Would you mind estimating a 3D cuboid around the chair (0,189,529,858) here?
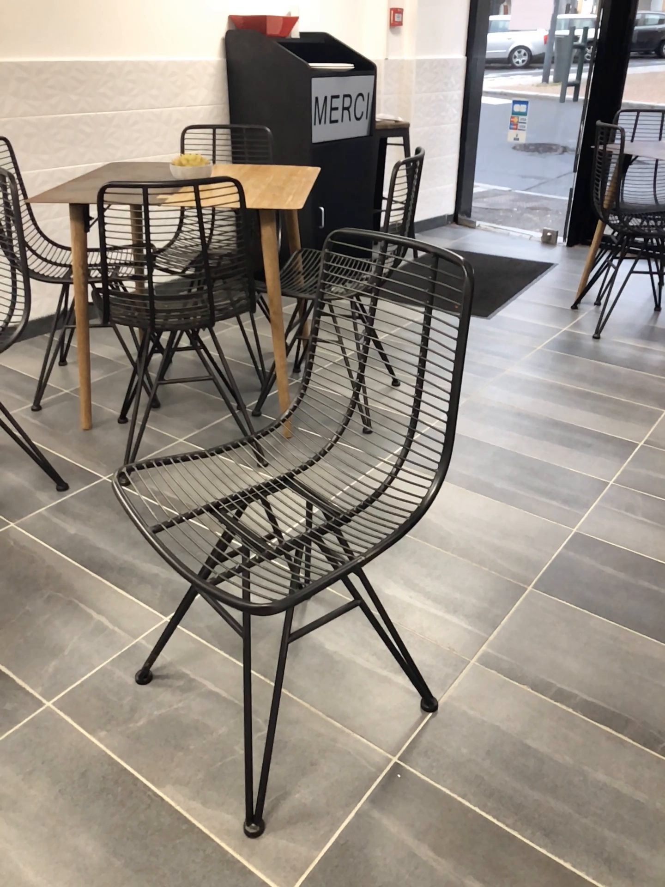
[{"bbox_3d":[-0.103,0.066,1.156,0.522,0.785,0.501,-20,34,-33],"label":"chair"}]
